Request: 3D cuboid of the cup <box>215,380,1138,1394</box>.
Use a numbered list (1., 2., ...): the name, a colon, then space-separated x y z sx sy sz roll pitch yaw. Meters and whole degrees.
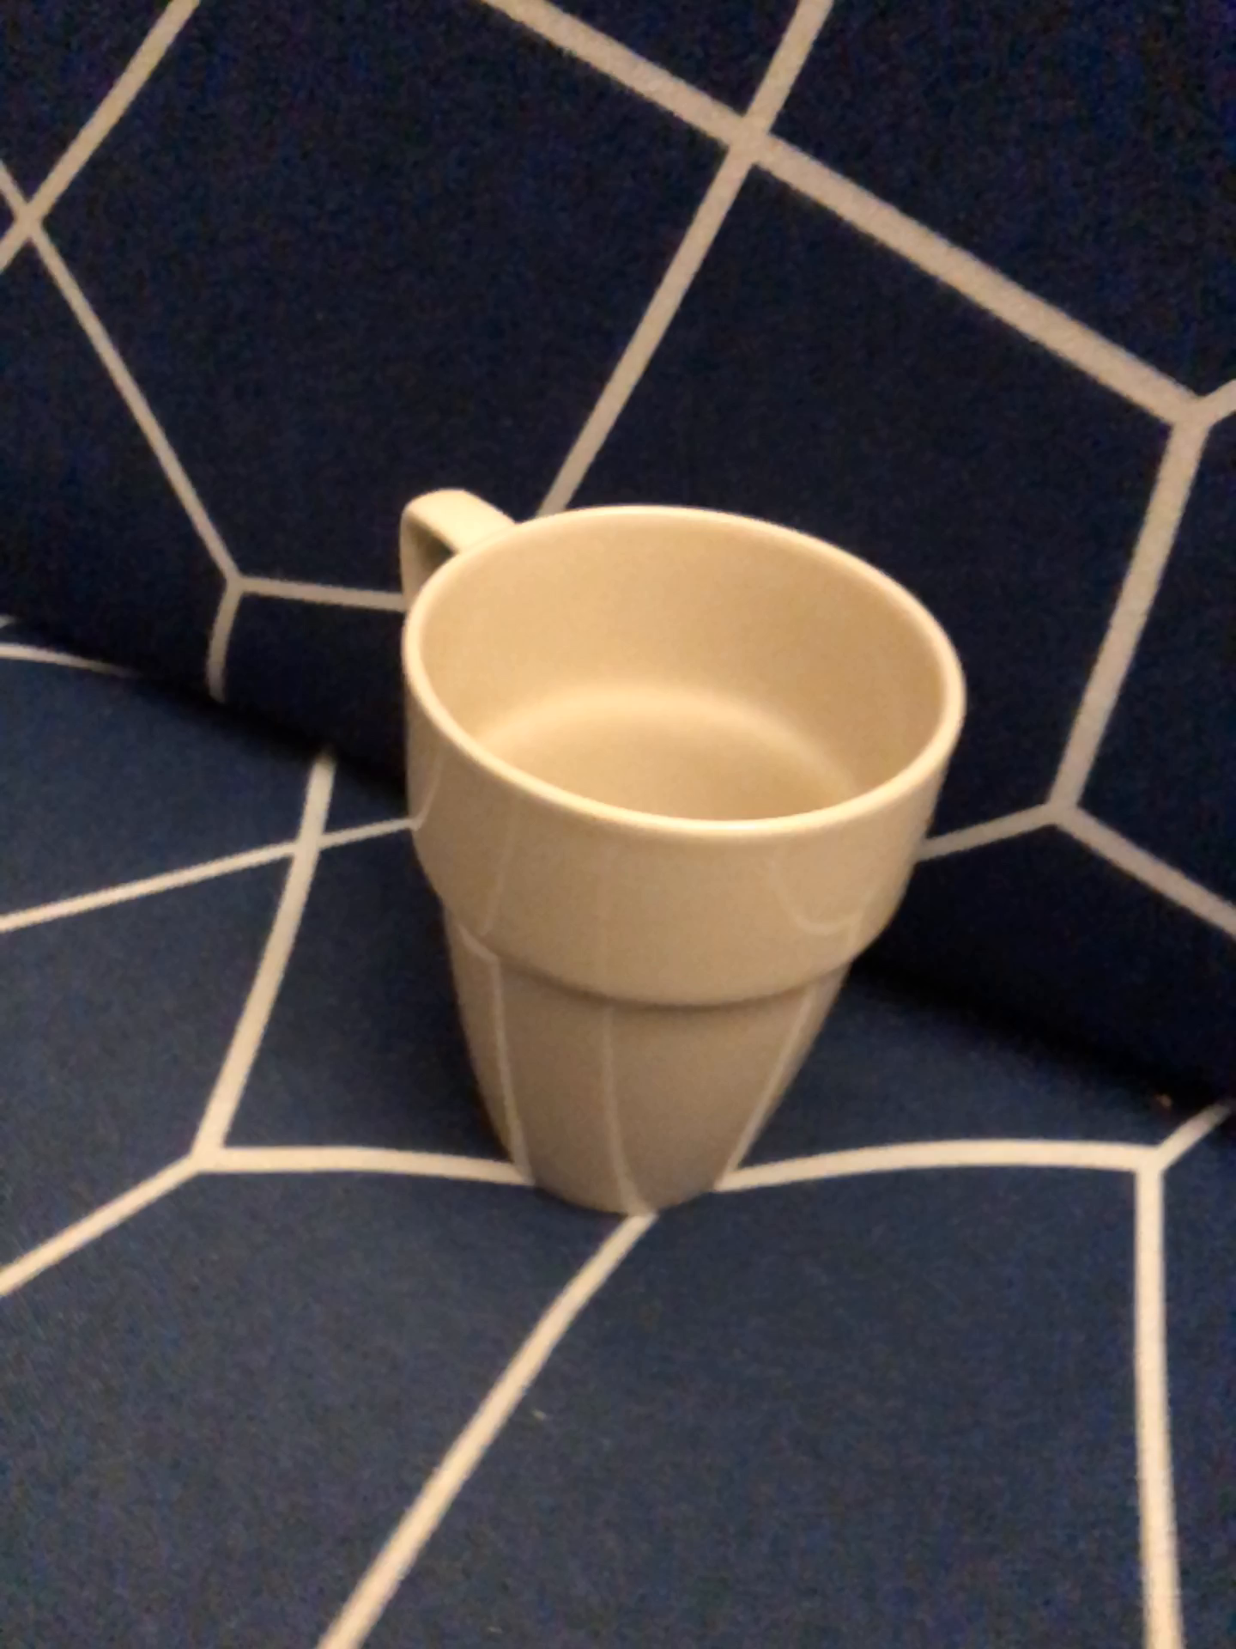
1. cup: 0.001 0.004 0.238 0.090 0.109 0.105 -23 48 -31
